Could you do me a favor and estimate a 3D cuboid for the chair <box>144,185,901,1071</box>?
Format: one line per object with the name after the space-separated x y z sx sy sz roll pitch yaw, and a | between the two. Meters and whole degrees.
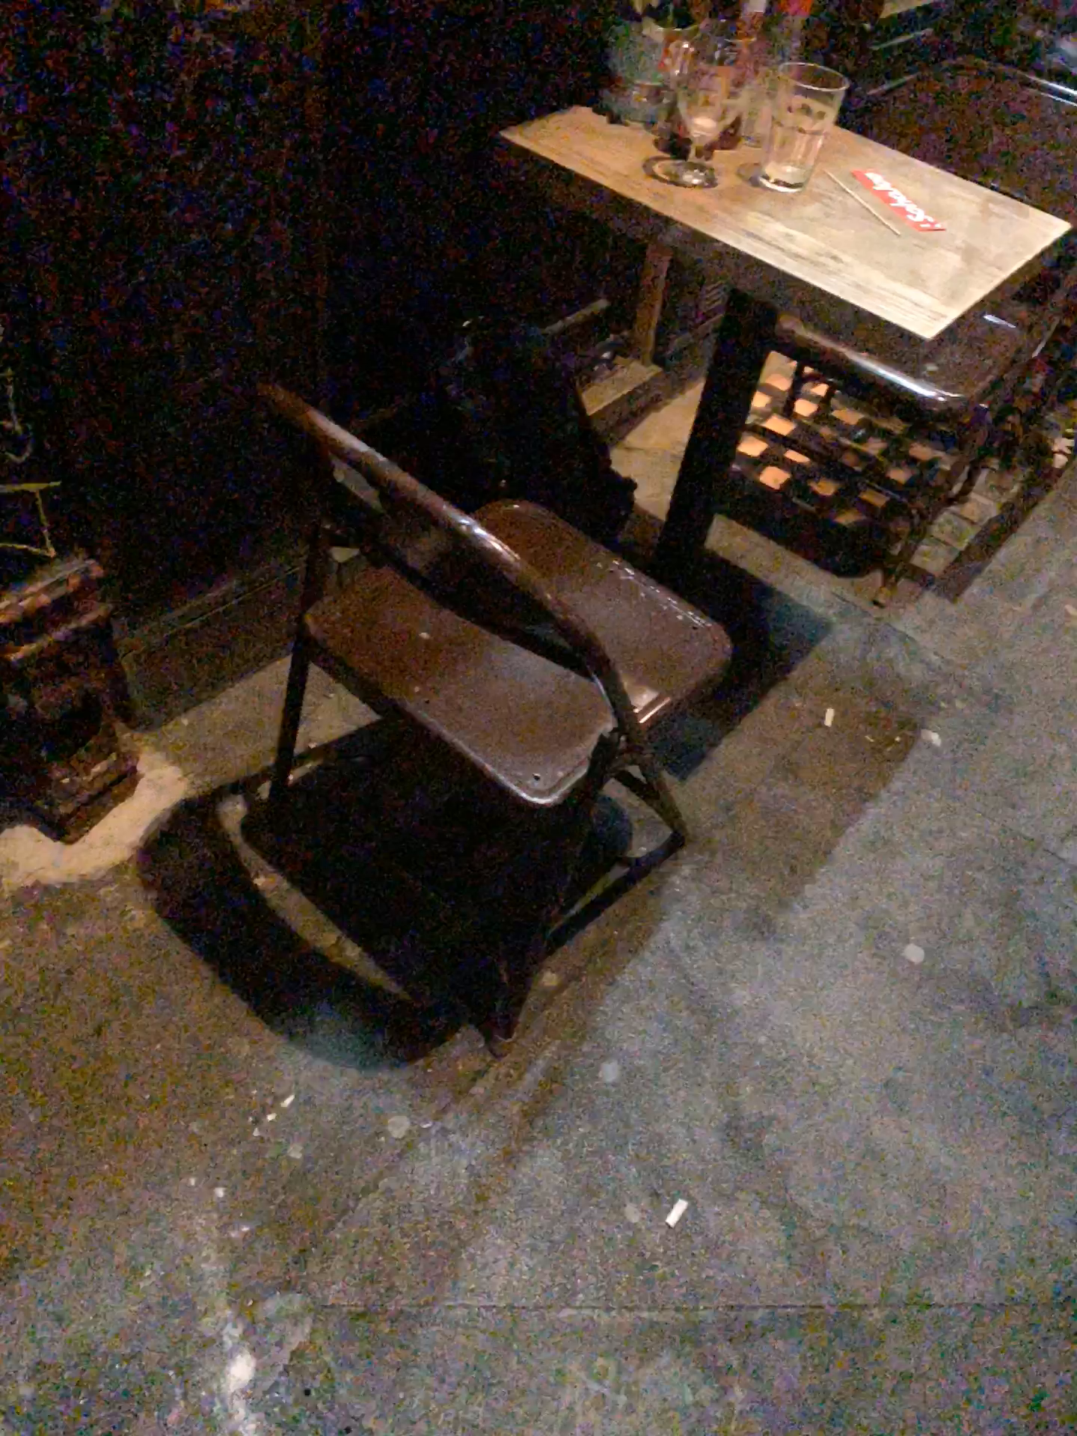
-0.041 -0.098 1.234 0.492 0.723 0.483 35 50 24 | chair
